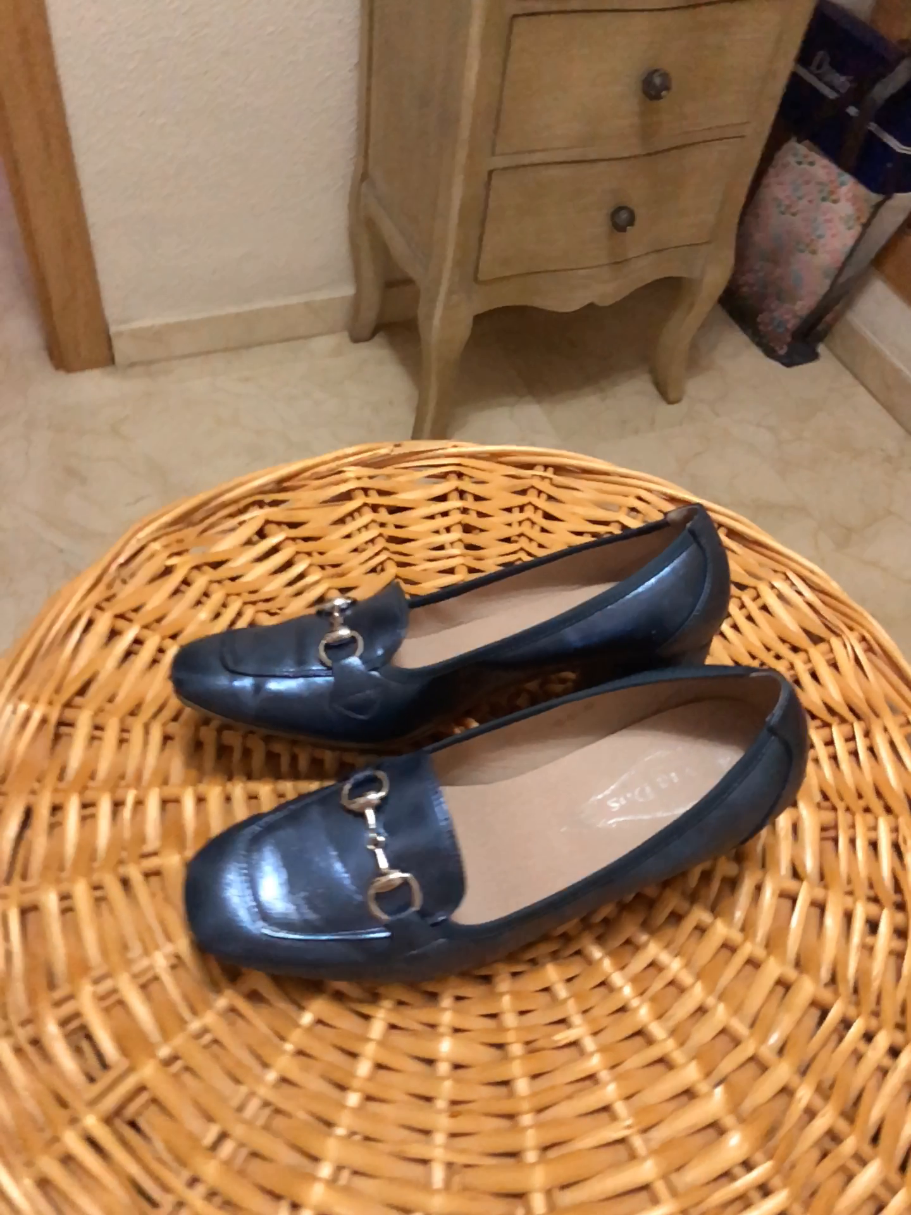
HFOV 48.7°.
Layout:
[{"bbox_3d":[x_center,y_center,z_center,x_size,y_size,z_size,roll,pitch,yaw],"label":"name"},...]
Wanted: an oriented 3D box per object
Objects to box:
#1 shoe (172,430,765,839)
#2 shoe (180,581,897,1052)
[{"bbox_3d":[0.005,0.013,0.478,0.250,0.090,0.100,-15,46,1],"label":"shoe"},{"bbox_3d":[0.030,0.086,0.419,0.260,0.090,0.090,-16,47,-3],"label":"shoe"}]
